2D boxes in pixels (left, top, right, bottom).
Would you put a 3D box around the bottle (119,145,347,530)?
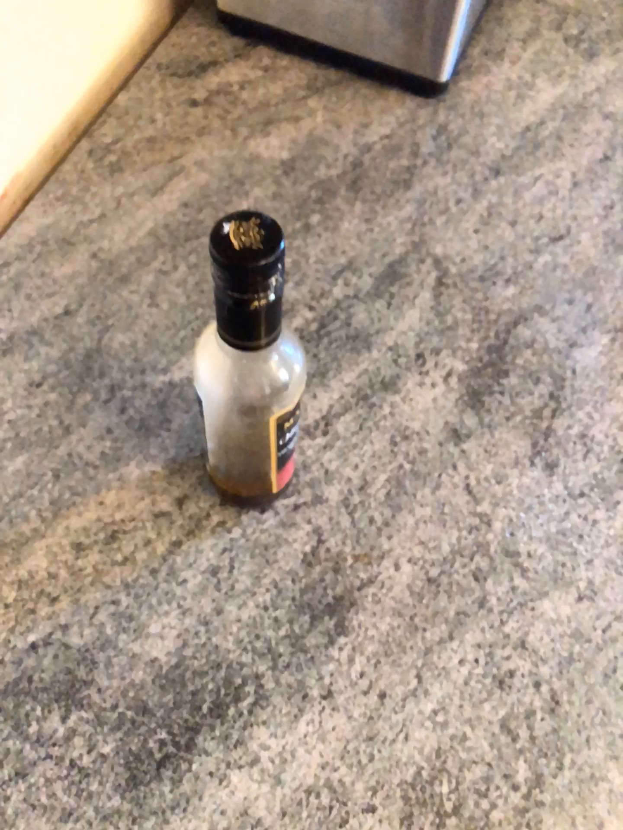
[{"bbox_3d":[-0.035,-0.020,0.373,0.070,0.229,0.070,2,60,-3],"label":"bottle"}]
